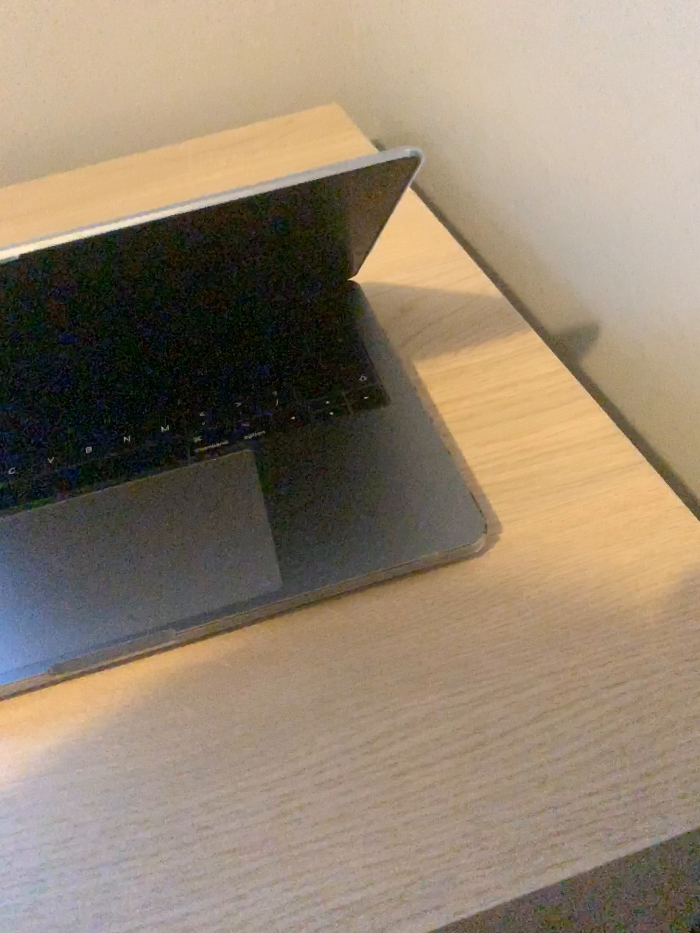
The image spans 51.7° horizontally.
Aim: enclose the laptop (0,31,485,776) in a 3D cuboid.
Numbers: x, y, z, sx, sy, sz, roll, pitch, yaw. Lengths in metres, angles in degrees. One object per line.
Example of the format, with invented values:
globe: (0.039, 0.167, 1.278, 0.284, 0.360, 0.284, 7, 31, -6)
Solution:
laptop: (-0.121, -0.047, 0.289, 0.290, 0.130, 0.205, -16, 44, -5)
